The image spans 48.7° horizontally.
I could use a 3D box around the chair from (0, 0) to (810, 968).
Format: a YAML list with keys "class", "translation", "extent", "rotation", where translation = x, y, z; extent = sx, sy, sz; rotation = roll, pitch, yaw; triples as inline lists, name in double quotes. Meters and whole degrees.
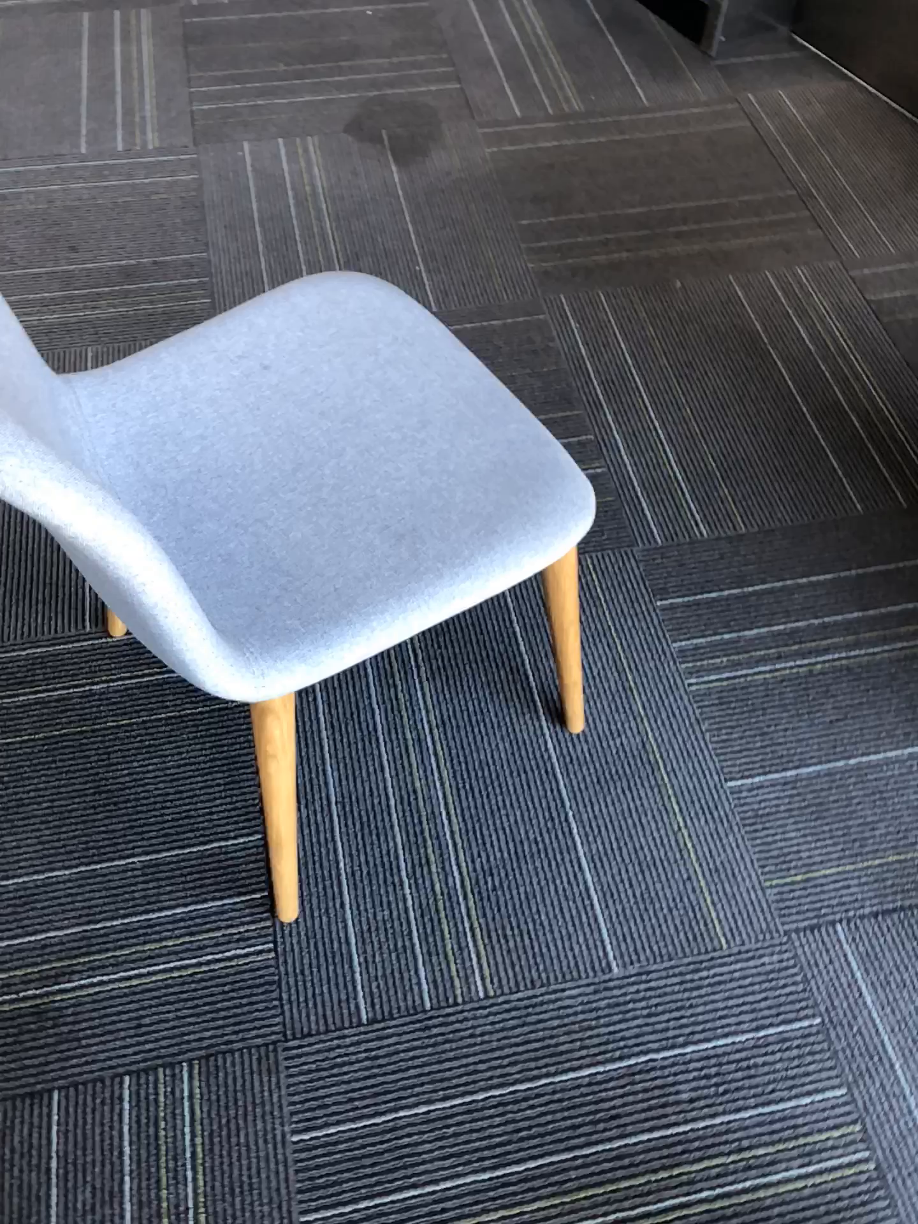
- class: "chair"
  translation: [-0.179, -0.159, 1.033]
  extent: [0.610, 0.847, 0.561]
  rotation: [-28, 60, -16]
